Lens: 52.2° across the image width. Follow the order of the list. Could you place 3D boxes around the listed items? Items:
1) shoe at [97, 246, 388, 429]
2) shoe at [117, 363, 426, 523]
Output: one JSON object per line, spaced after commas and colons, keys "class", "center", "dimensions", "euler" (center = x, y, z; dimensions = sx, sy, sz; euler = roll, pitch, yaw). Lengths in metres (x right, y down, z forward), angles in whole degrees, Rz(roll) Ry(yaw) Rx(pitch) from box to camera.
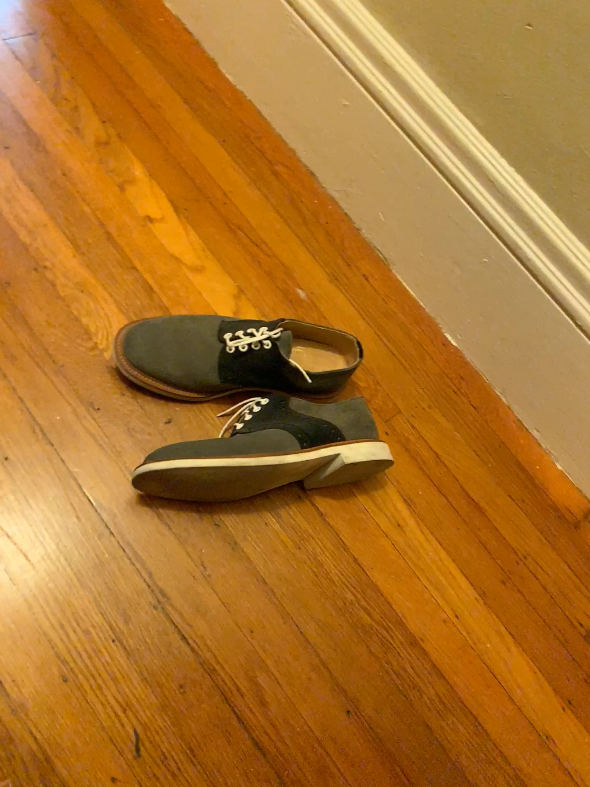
{"class": "shoe", "center": [-0.058, -0.057, 0.702], "dimensions": [0.310, 0.100, 0.130], "euler": [9, 63, -15]}
{"class": "shoe", "center": [-0.033, 0.053, 0.679], "dimensions": [0.310, 0.130, 0.120], "euler": [-2, 64, -20]}
